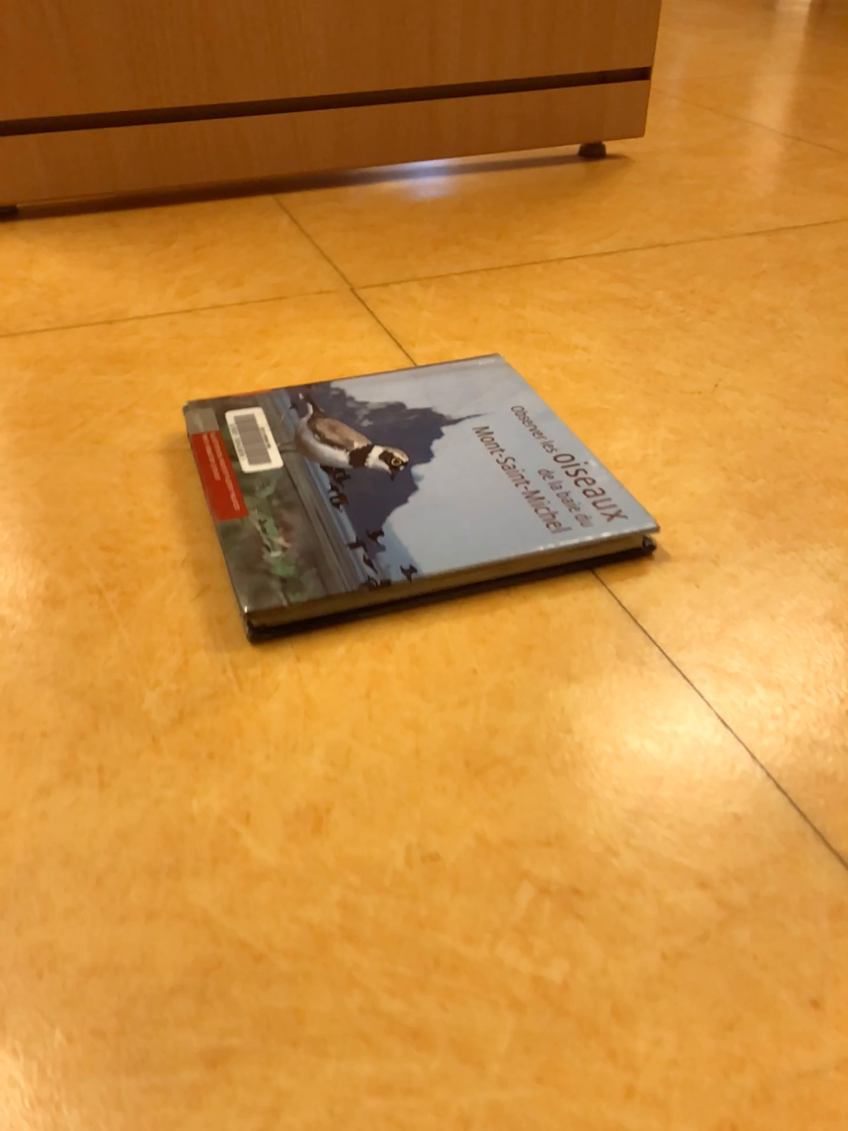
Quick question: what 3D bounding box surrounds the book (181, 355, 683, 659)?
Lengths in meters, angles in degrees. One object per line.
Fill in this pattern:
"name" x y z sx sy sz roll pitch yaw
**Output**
"book" -0.007 -0.035 0.371 0.156 0.015 0.154 -11 39 -15
